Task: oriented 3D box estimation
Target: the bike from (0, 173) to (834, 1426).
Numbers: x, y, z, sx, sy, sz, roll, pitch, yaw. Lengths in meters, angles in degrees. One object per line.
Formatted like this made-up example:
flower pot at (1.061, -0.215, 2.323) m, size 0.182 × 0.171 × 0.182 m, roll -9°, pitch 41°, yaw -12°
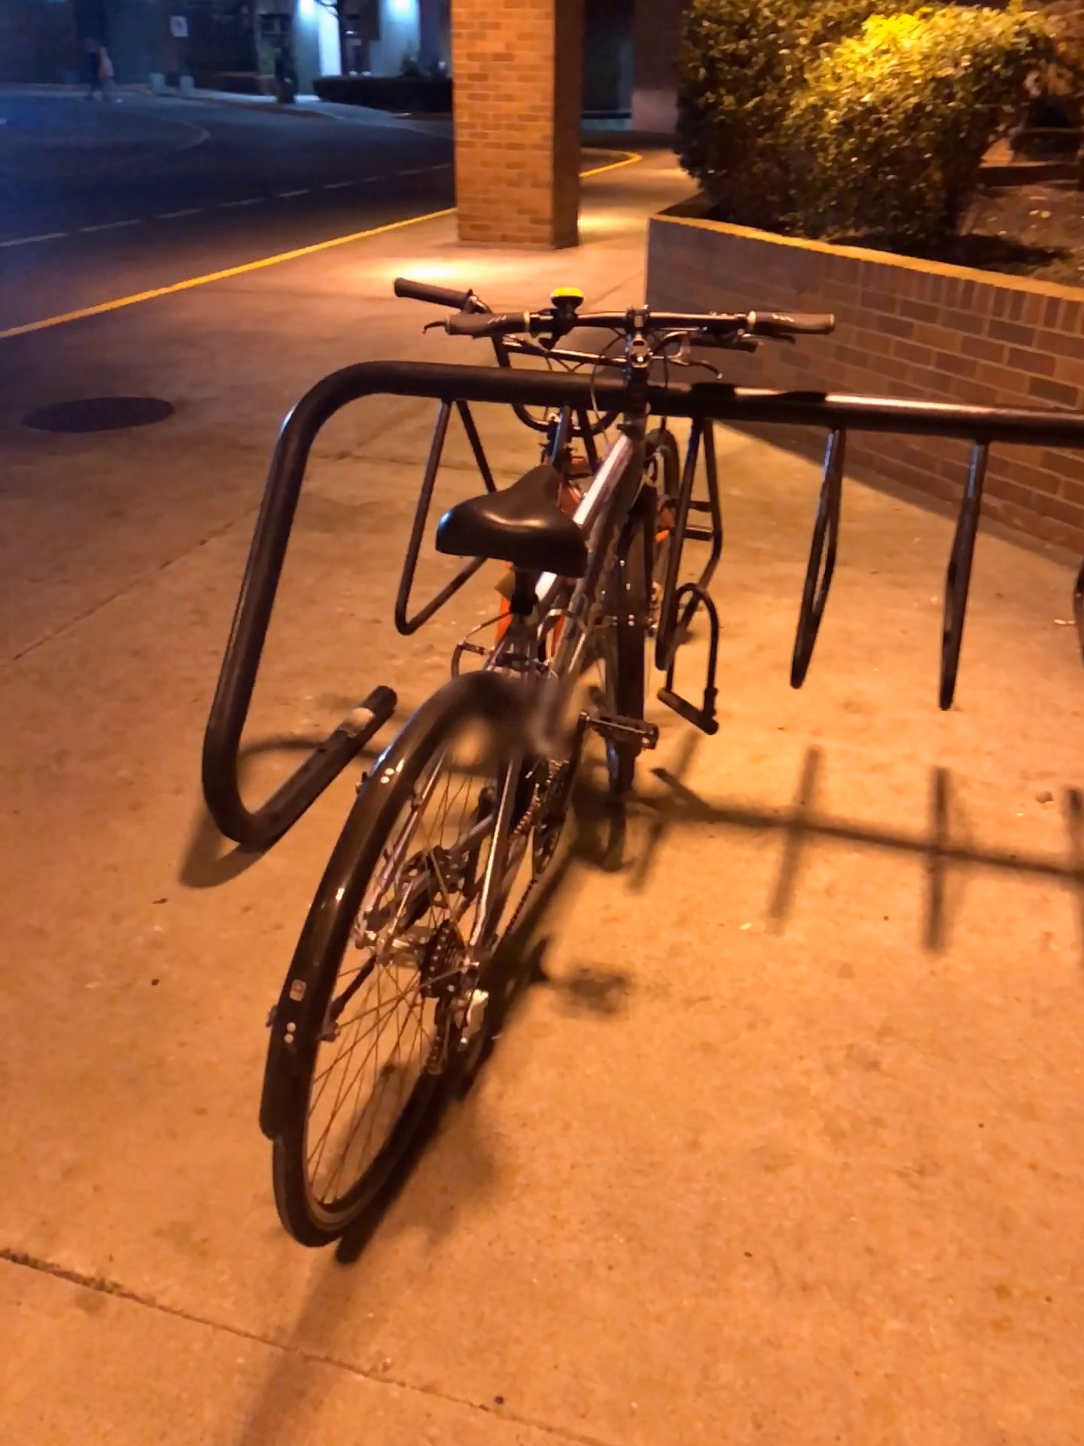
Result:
bike at (-0.003, -0.173, 1.724) m, size 0.638 × 0.864 × 1.651 m, roll 8°, pitch 34°, yaw 13°
